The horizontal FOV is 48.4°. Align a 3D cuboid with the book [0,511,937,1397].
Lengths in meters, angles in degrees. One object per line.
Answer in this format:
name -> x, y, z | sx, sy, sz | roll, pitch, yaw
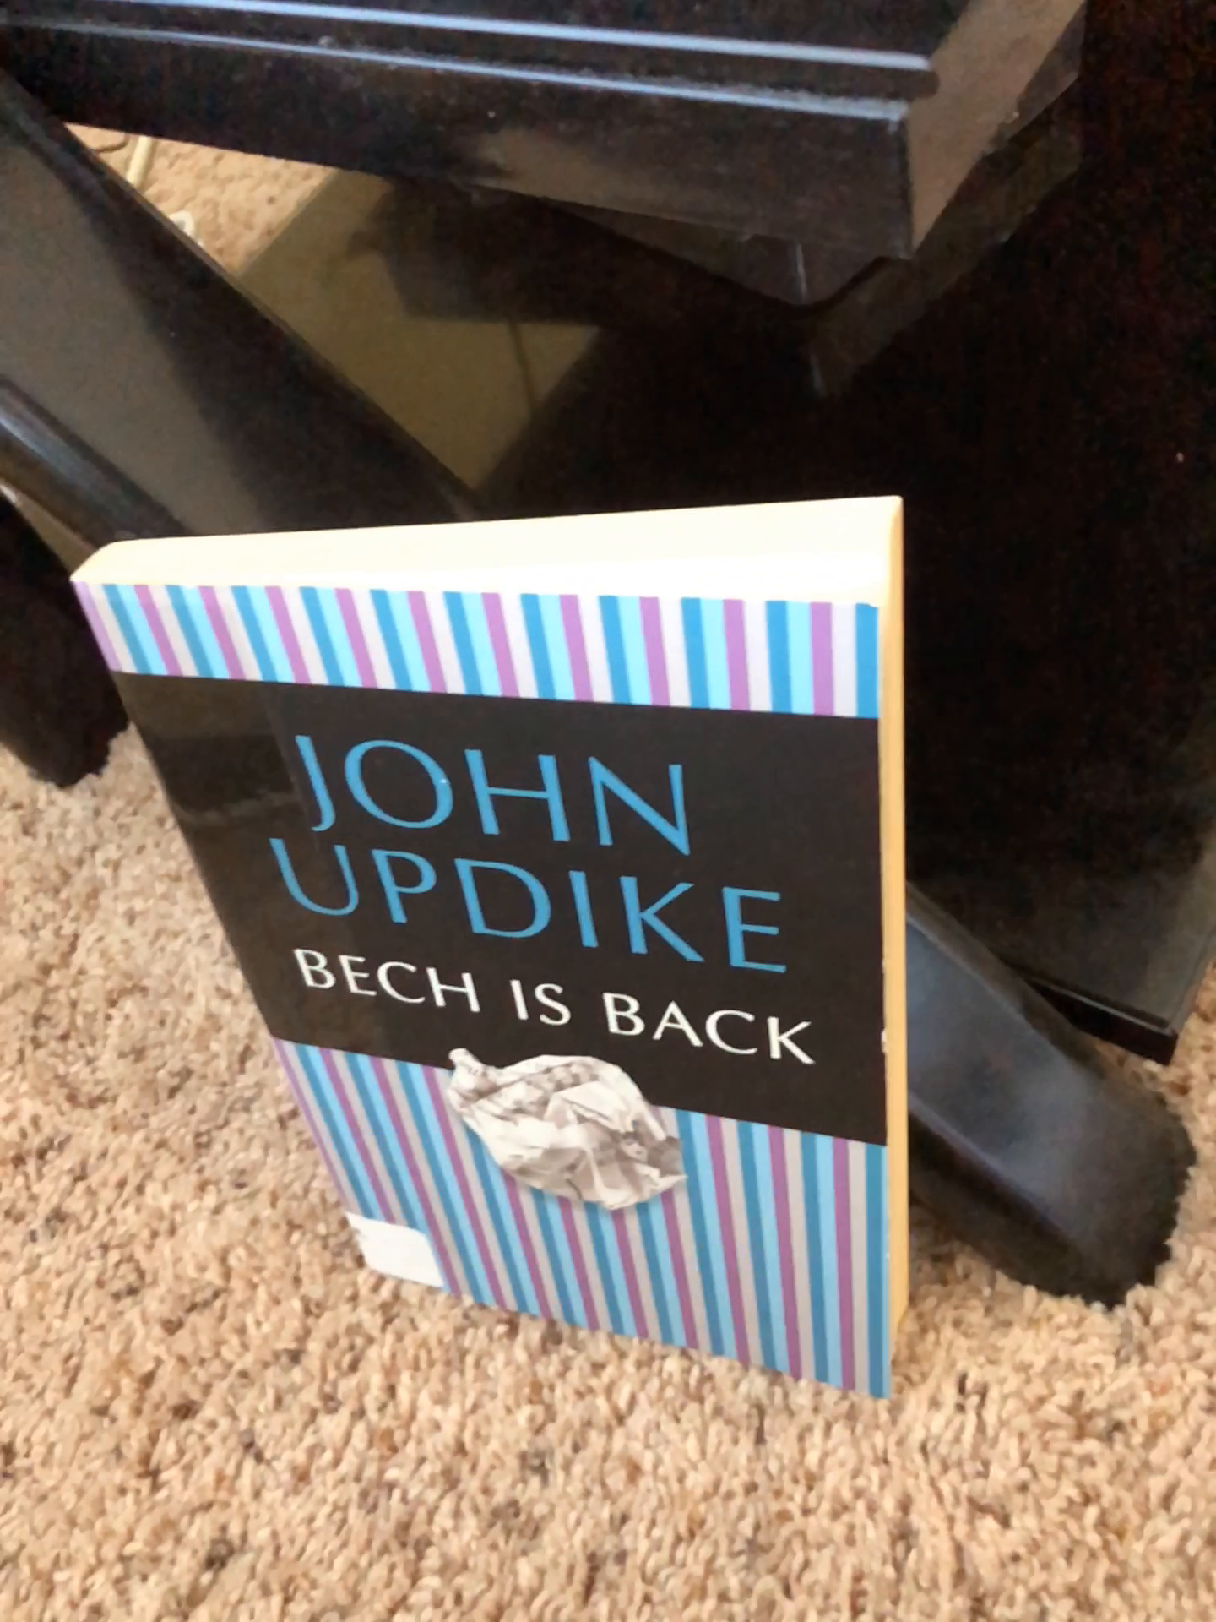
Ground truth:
book -> -0.009, 0.039, 0.261 | 0.135, 0.201, 0.030 | 4, 44, 19
